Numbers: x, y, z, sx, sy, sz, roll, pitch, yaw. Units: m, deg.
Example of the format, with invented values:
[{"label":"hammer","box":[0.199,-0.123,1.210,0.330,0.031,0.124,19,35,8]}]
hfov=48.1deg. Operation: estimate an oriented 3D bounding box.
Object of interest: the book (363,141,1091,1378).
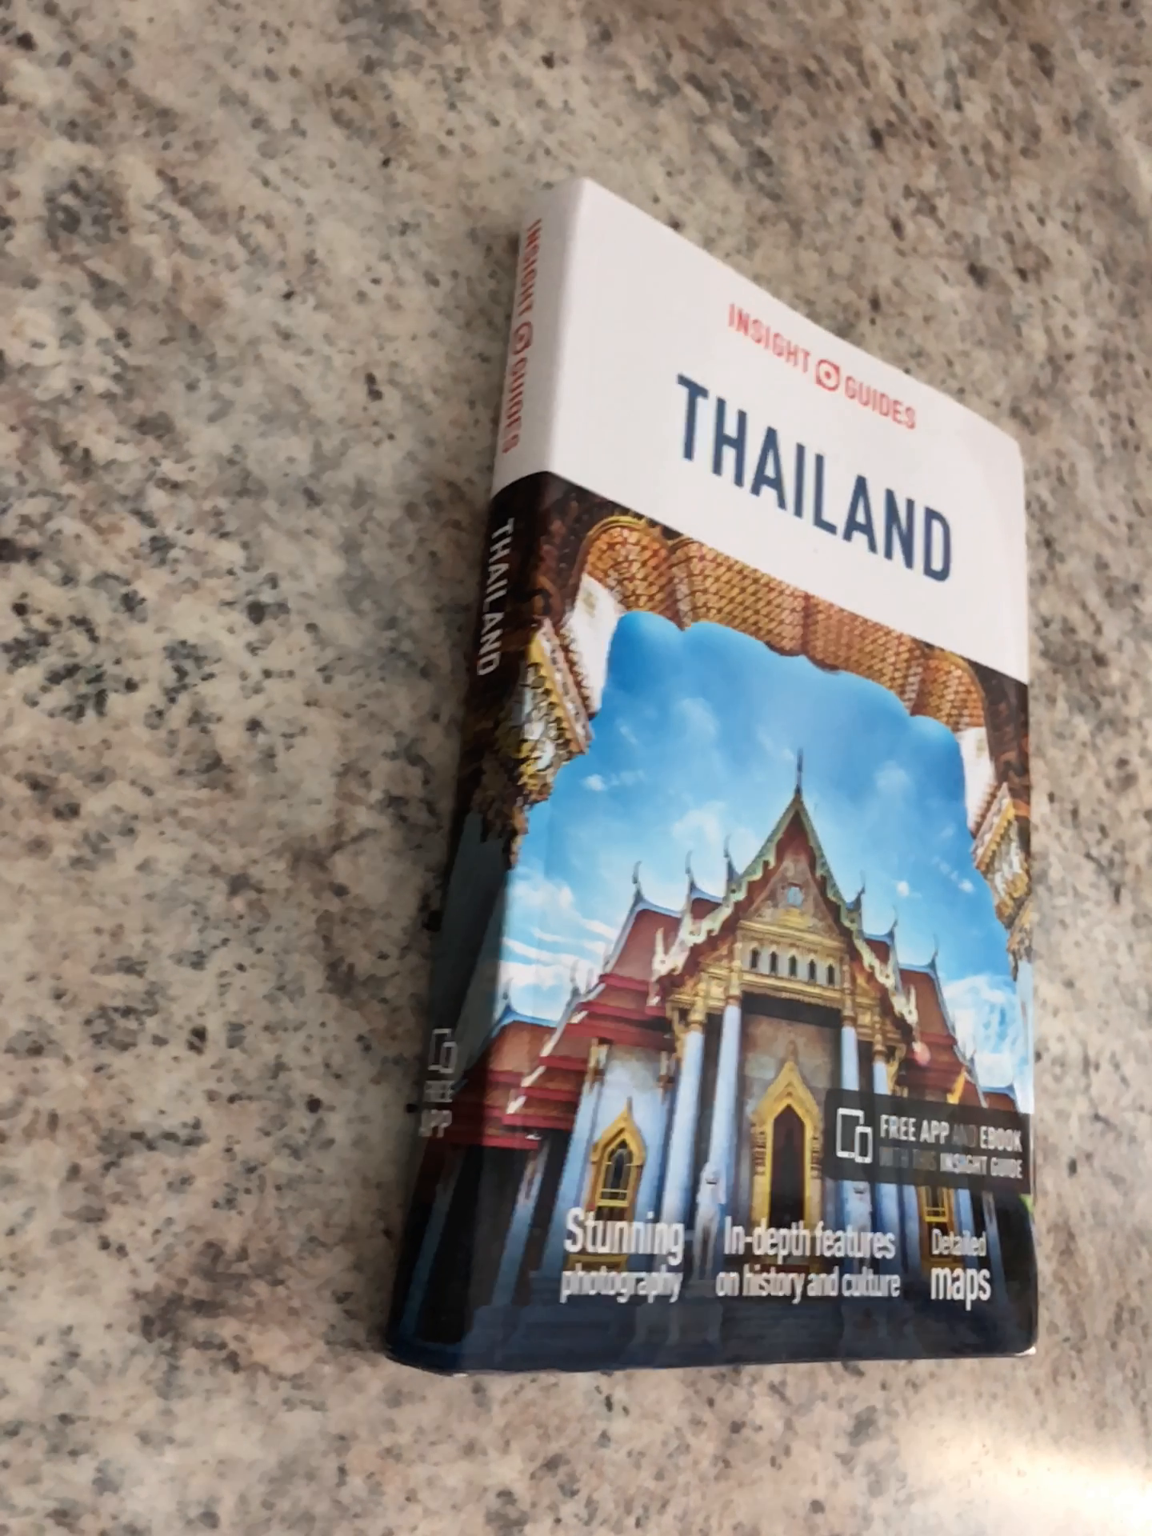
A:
[{"label":"book","box":[0.047,0.003,0.291,0.164,0.030,0.240,18,66,-33]}]
